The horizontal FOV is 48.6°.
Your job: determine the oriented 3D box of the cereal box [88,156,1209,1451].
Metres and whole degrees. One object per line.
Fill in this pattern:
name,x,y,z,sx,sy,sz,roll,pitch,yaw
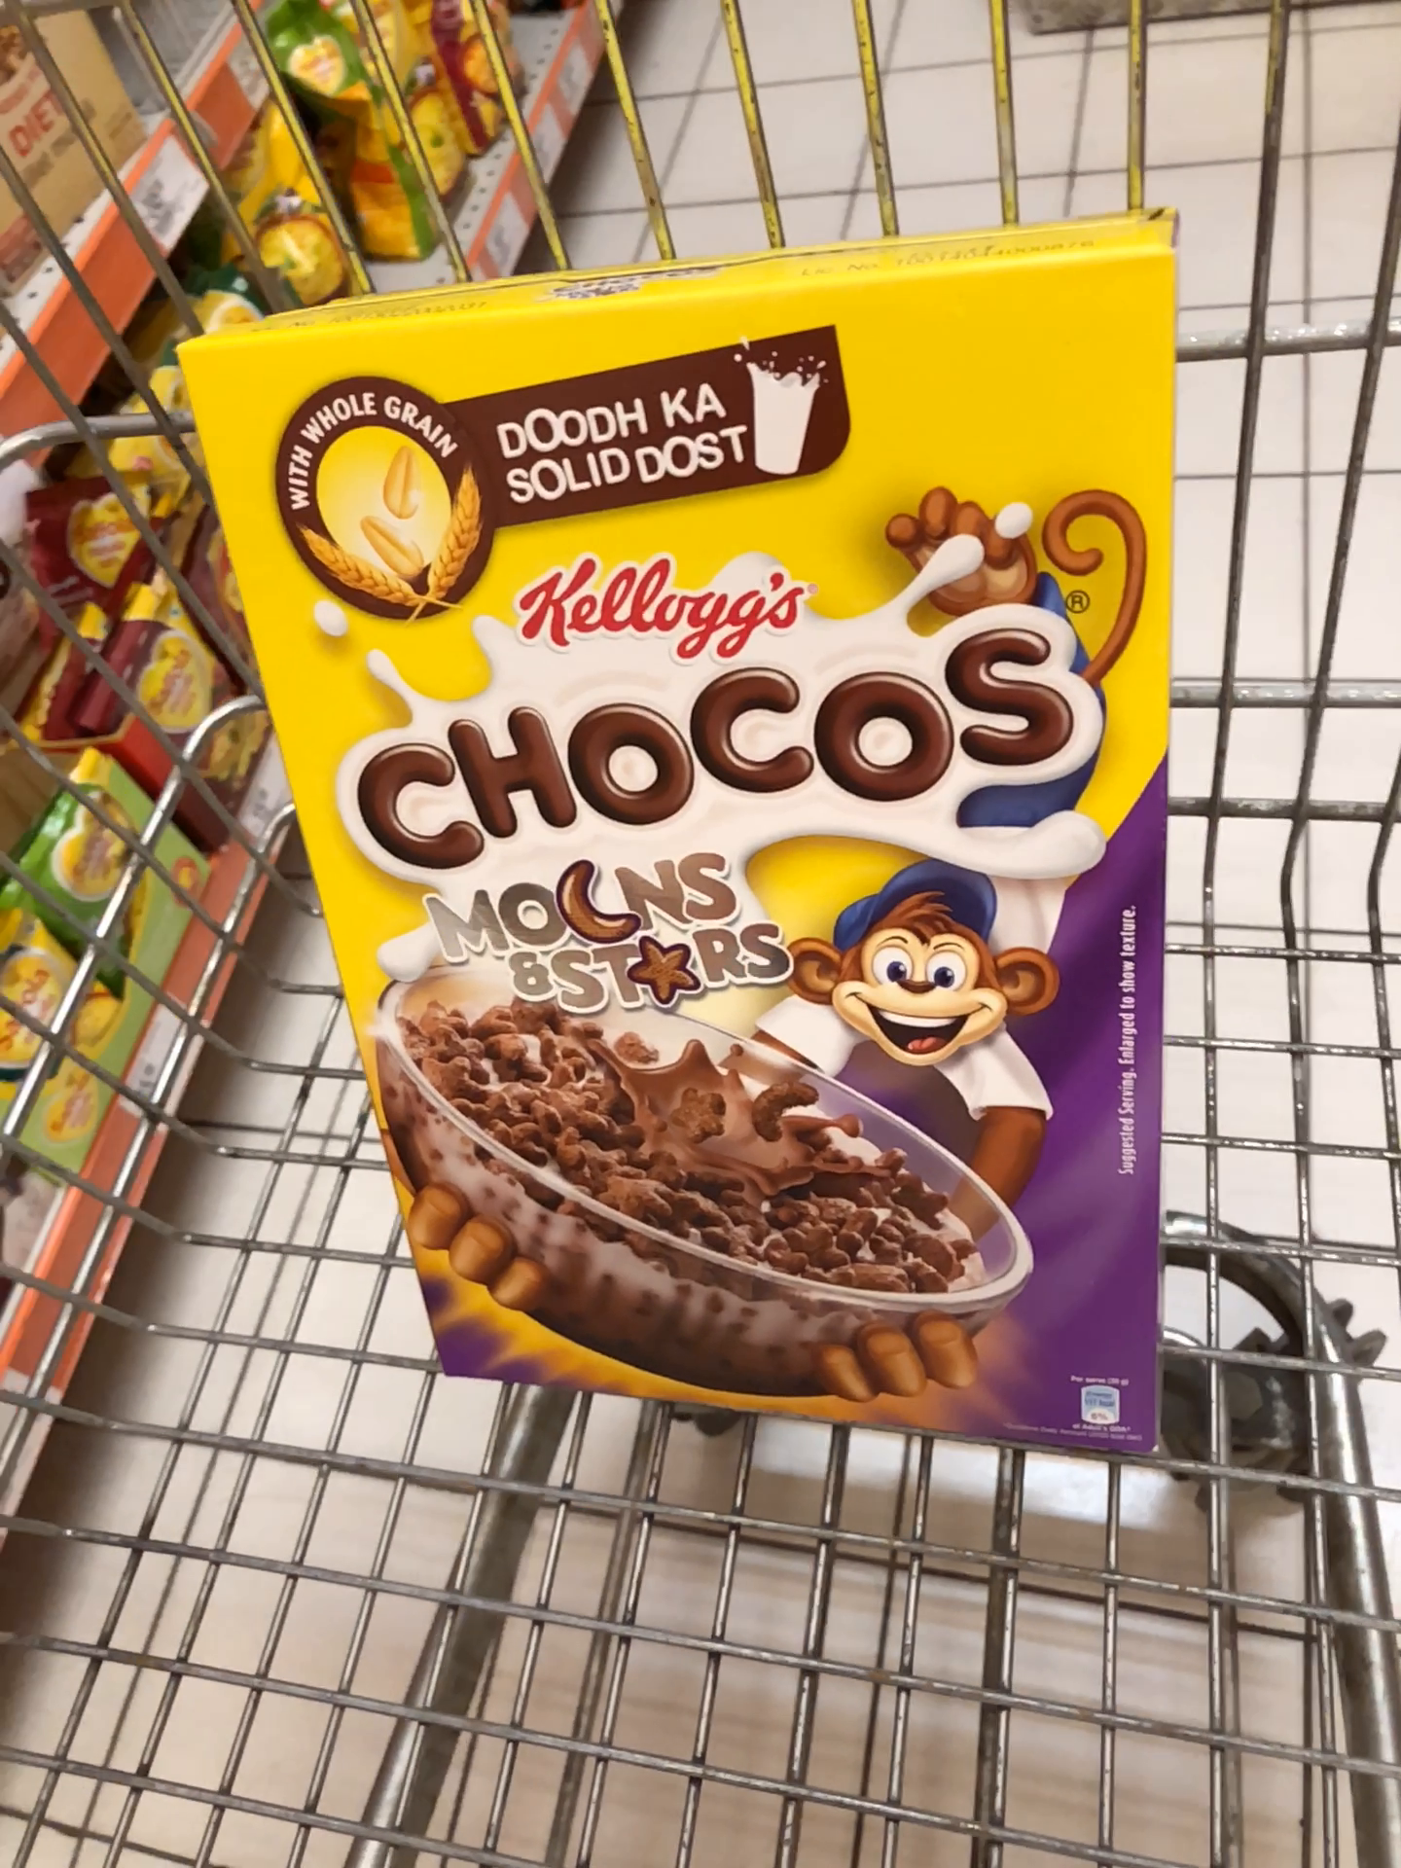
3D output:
cereal box,0.005,-0.017,0.336,0.190,0.249,0.070,1,27,16
